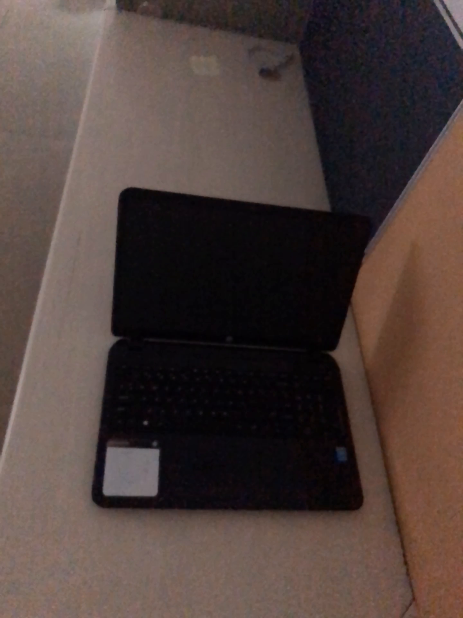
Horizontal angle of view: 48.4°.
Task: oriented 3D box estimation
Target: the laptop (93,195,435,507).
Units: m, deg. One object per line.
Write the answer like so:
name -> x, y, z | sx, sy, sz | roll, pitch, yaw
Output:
laptop -> 0.016, 0.060, 0.708 | 0.356, 0.205, 0.353 | 5, 53, -10
